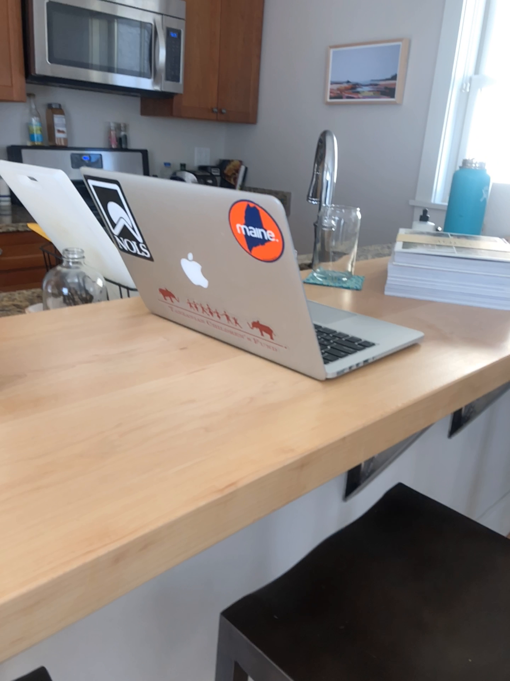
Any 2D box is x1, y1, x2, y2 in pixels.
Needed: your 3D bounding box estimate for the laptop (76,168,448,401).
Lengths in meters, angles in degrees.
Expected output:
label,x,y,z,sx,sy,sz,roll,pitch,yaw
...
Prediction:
label,x,y,z,sx,sy,sz,roll,pitch,yaw
laptop,0.007,-0.109,0.722,0.322,0.188,0.324,21,26,39
